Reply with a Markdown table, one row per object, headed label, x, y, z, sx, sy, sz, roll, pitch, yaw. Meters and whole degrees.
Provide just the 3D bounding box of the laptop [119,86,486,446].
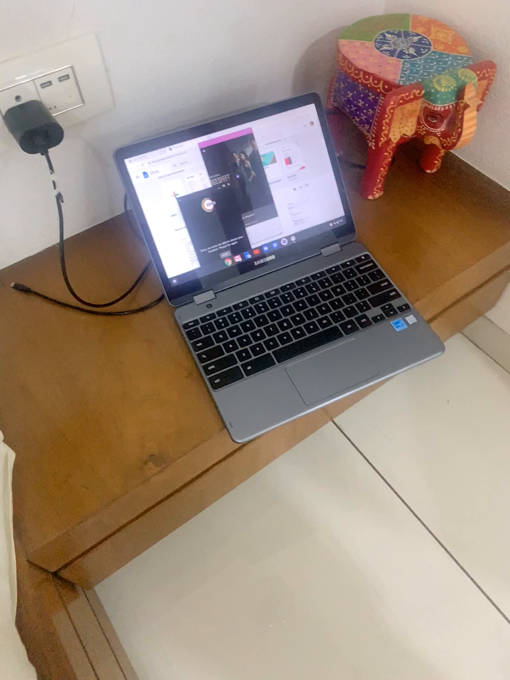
| label | x | y | z | sx | sy | sz | roll | pitch | yaw |
| --- | --- | --- | --- | --- | --- | --- | --- | --- | --- |
| laptop | 0.038 | -0.120 | 0.710 | 0.314 | 0.164 | 0.384 | -22 | 60 | -12 |
